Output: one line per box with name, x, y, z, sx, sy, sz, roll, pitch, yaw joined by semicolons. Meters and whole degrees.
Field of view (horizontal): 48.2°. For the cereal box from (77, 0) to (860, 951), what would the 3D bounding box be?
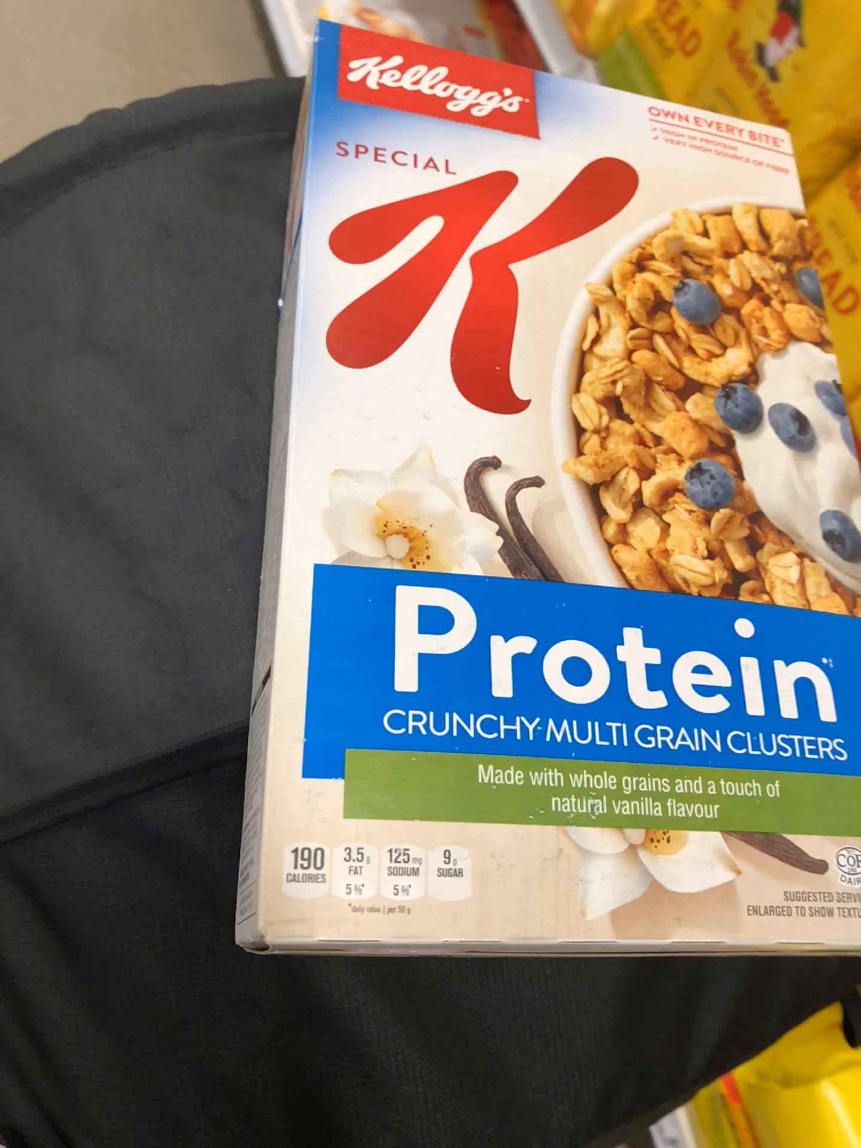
cereal box;0.023;-0.041;0.273;0.190;0.050;0.270;6;64;-13
